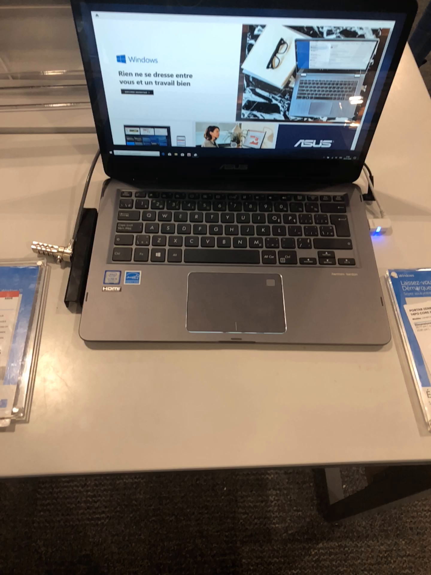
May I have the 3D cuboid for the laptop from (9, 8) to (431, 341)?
[{"bbox_3d":[0.022,-0.097,0.445,0.302,0.217,0.224,1,57,0],"label":"laptop"}]
